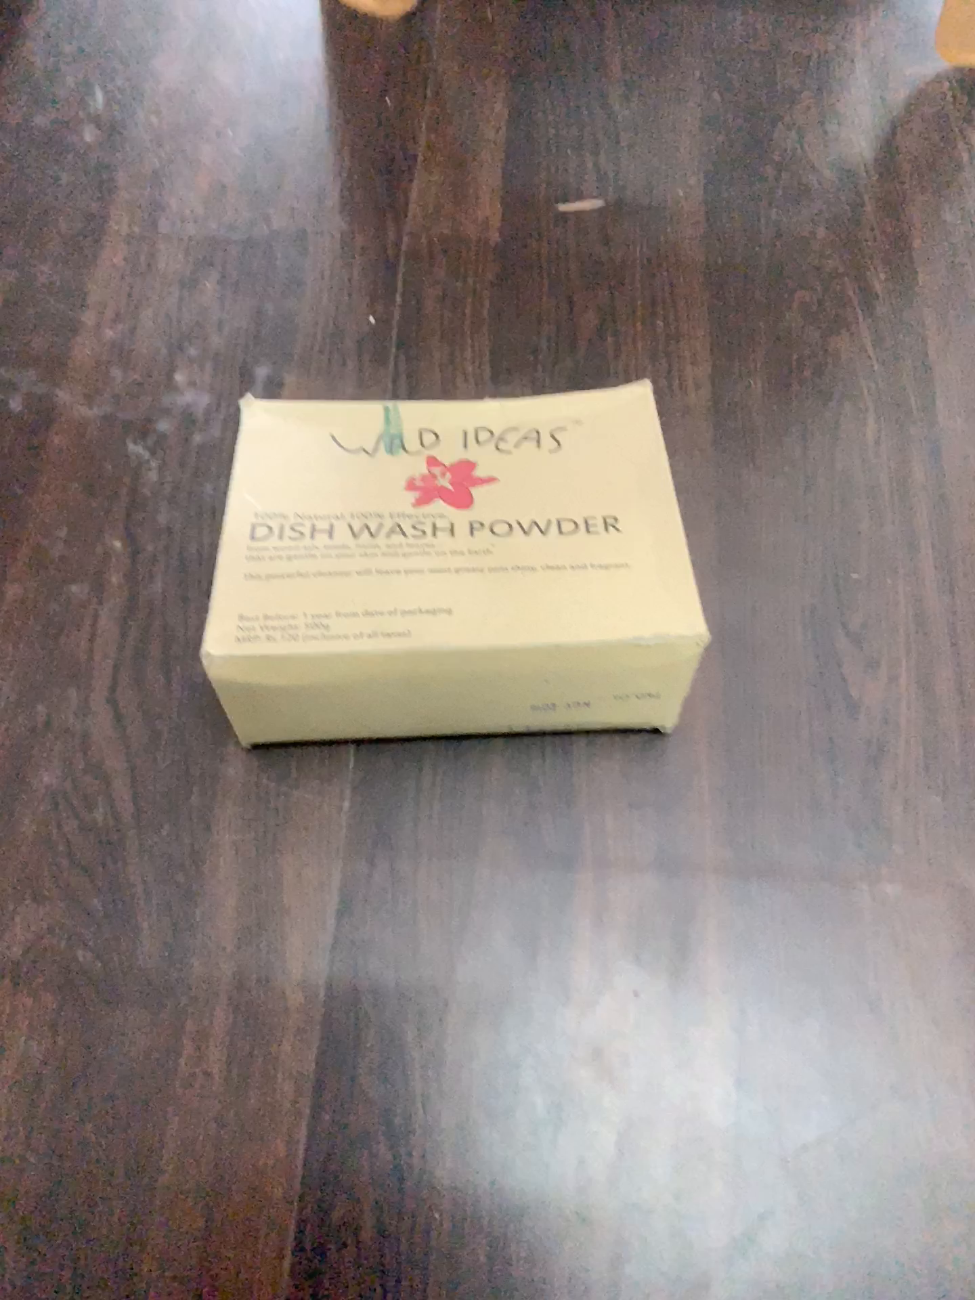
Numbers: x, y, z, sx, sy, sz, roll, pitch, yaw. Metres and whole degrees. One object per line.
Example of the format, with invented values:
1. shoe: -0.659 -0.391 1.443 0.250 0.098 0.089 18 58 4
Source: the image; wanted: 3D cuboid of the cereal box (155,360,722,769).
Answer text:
1. cereal box: -0.018 -0.038 0.388 0.180 0.060 0.150 -2 52 -1
